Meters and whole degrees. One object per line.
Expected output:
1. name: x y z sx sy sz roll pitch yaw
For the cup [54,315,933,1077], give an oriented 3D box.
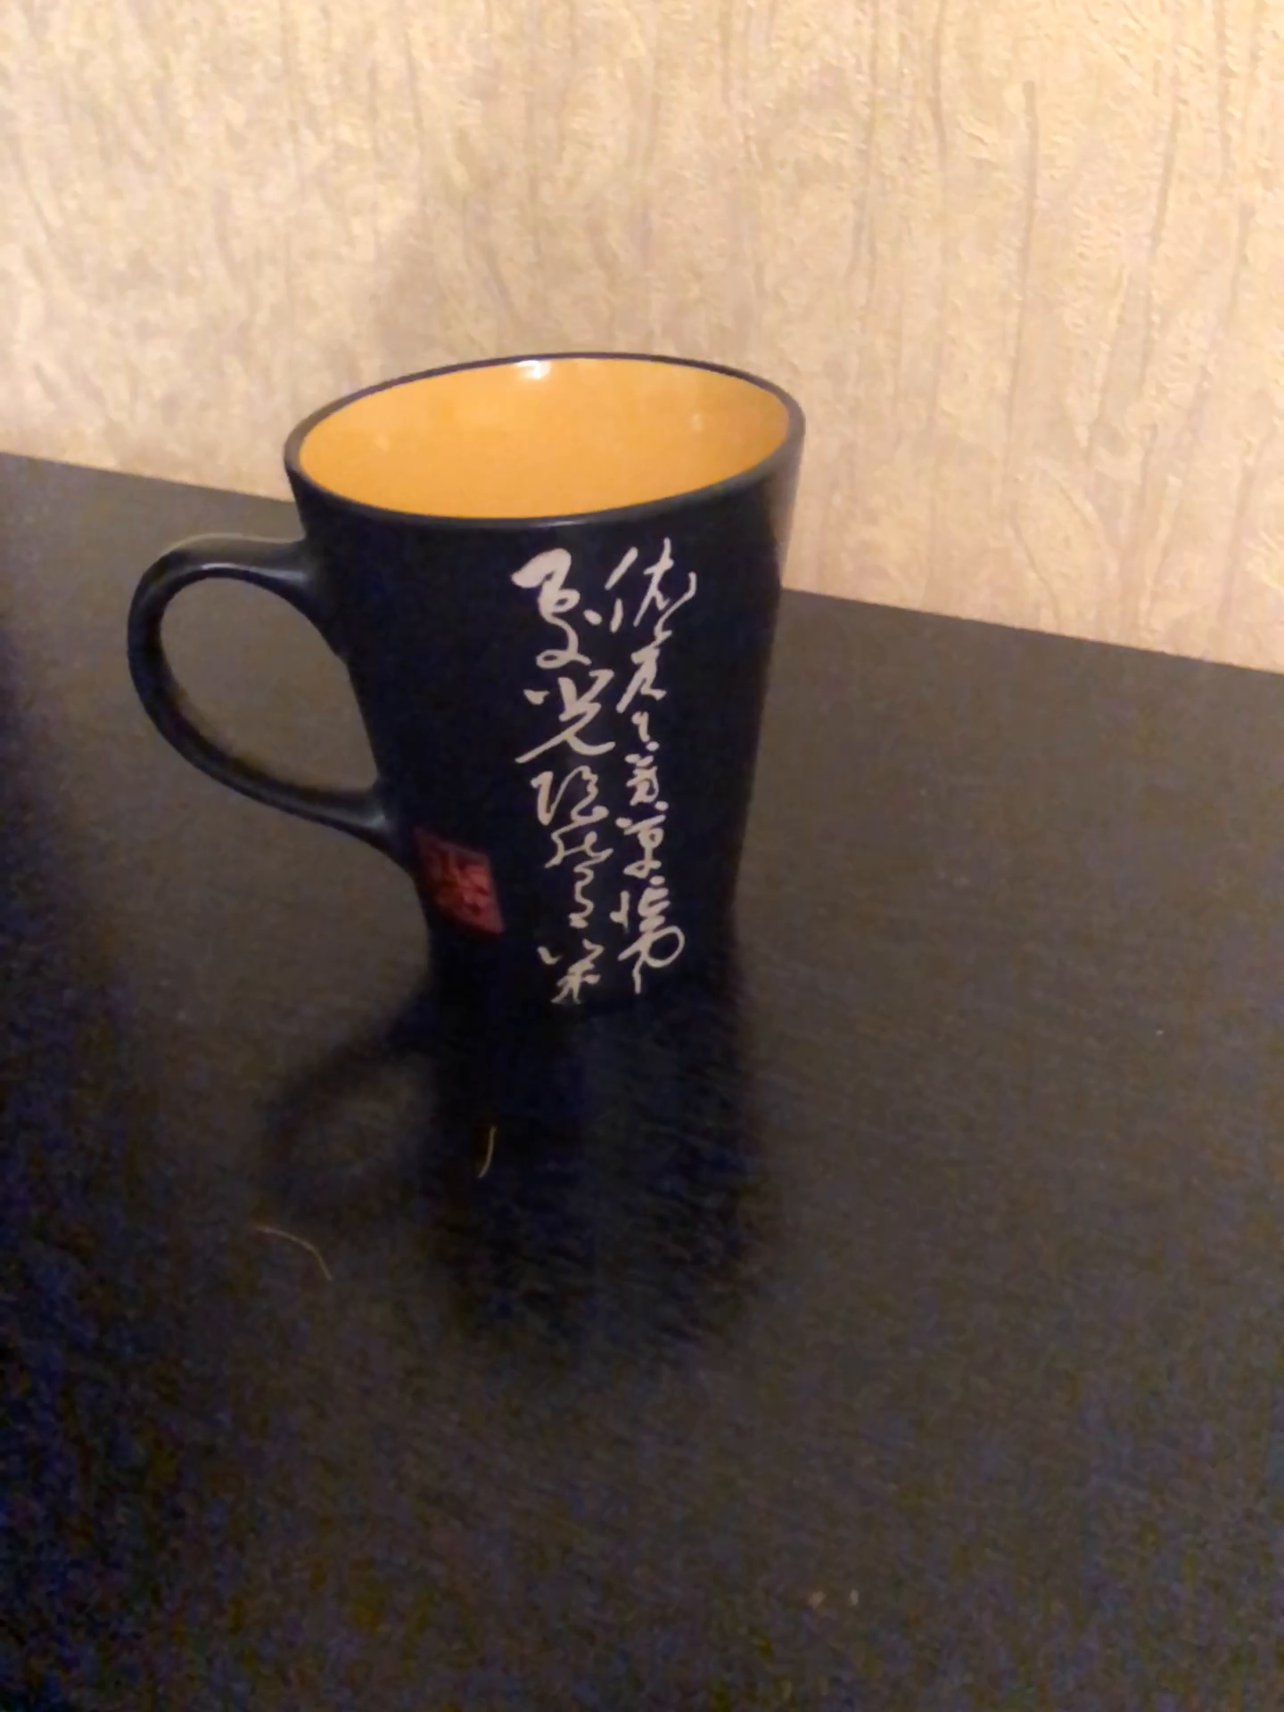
1. cup: -0.026 -0.035 0.276 0.130 0.099 0.090 -8 35 -8
